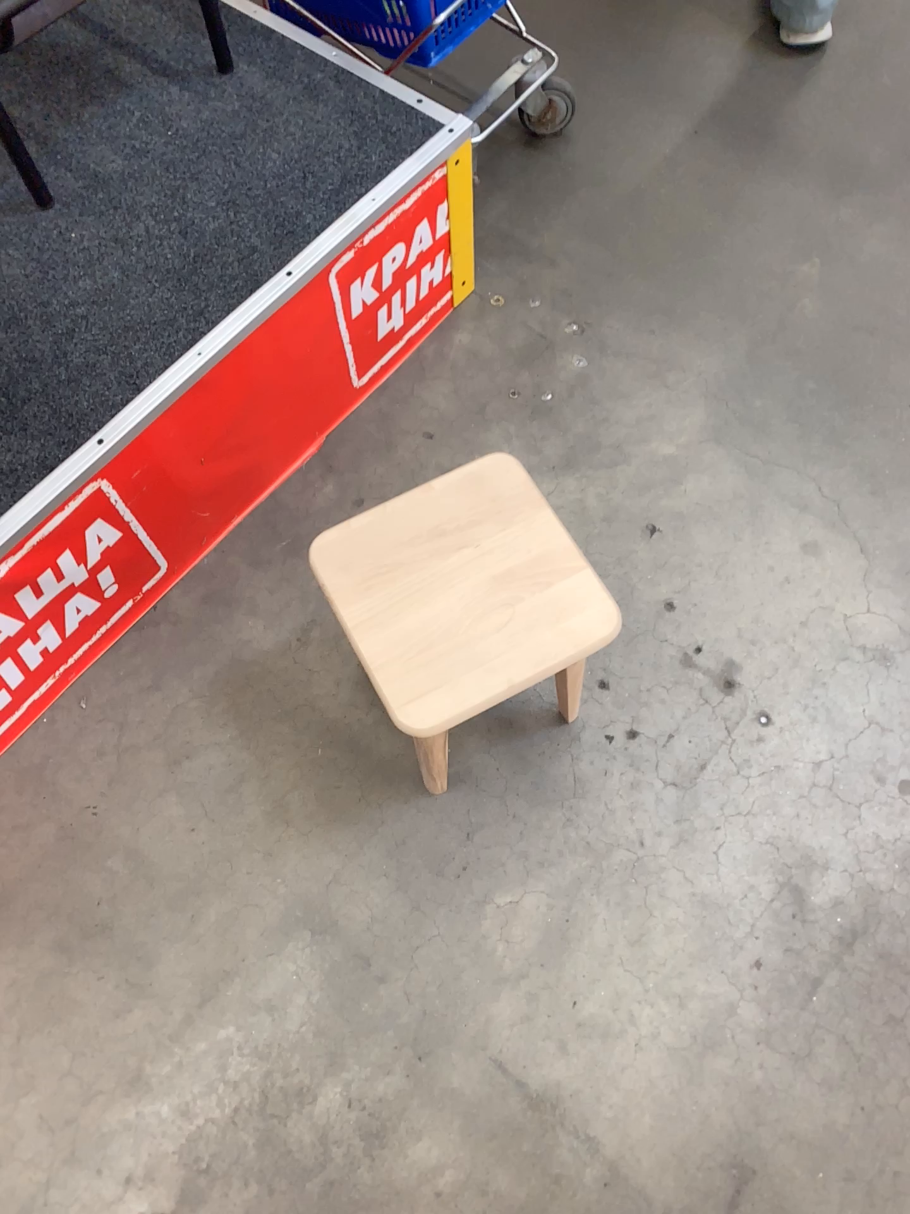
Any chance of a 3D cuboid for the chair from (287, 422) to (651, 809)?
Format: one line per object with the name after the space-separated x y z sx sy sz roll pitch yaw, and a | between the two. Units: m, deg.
0.012 0.020 0.997 0.260 0.260 0.250 -26 68 -9 | chair
